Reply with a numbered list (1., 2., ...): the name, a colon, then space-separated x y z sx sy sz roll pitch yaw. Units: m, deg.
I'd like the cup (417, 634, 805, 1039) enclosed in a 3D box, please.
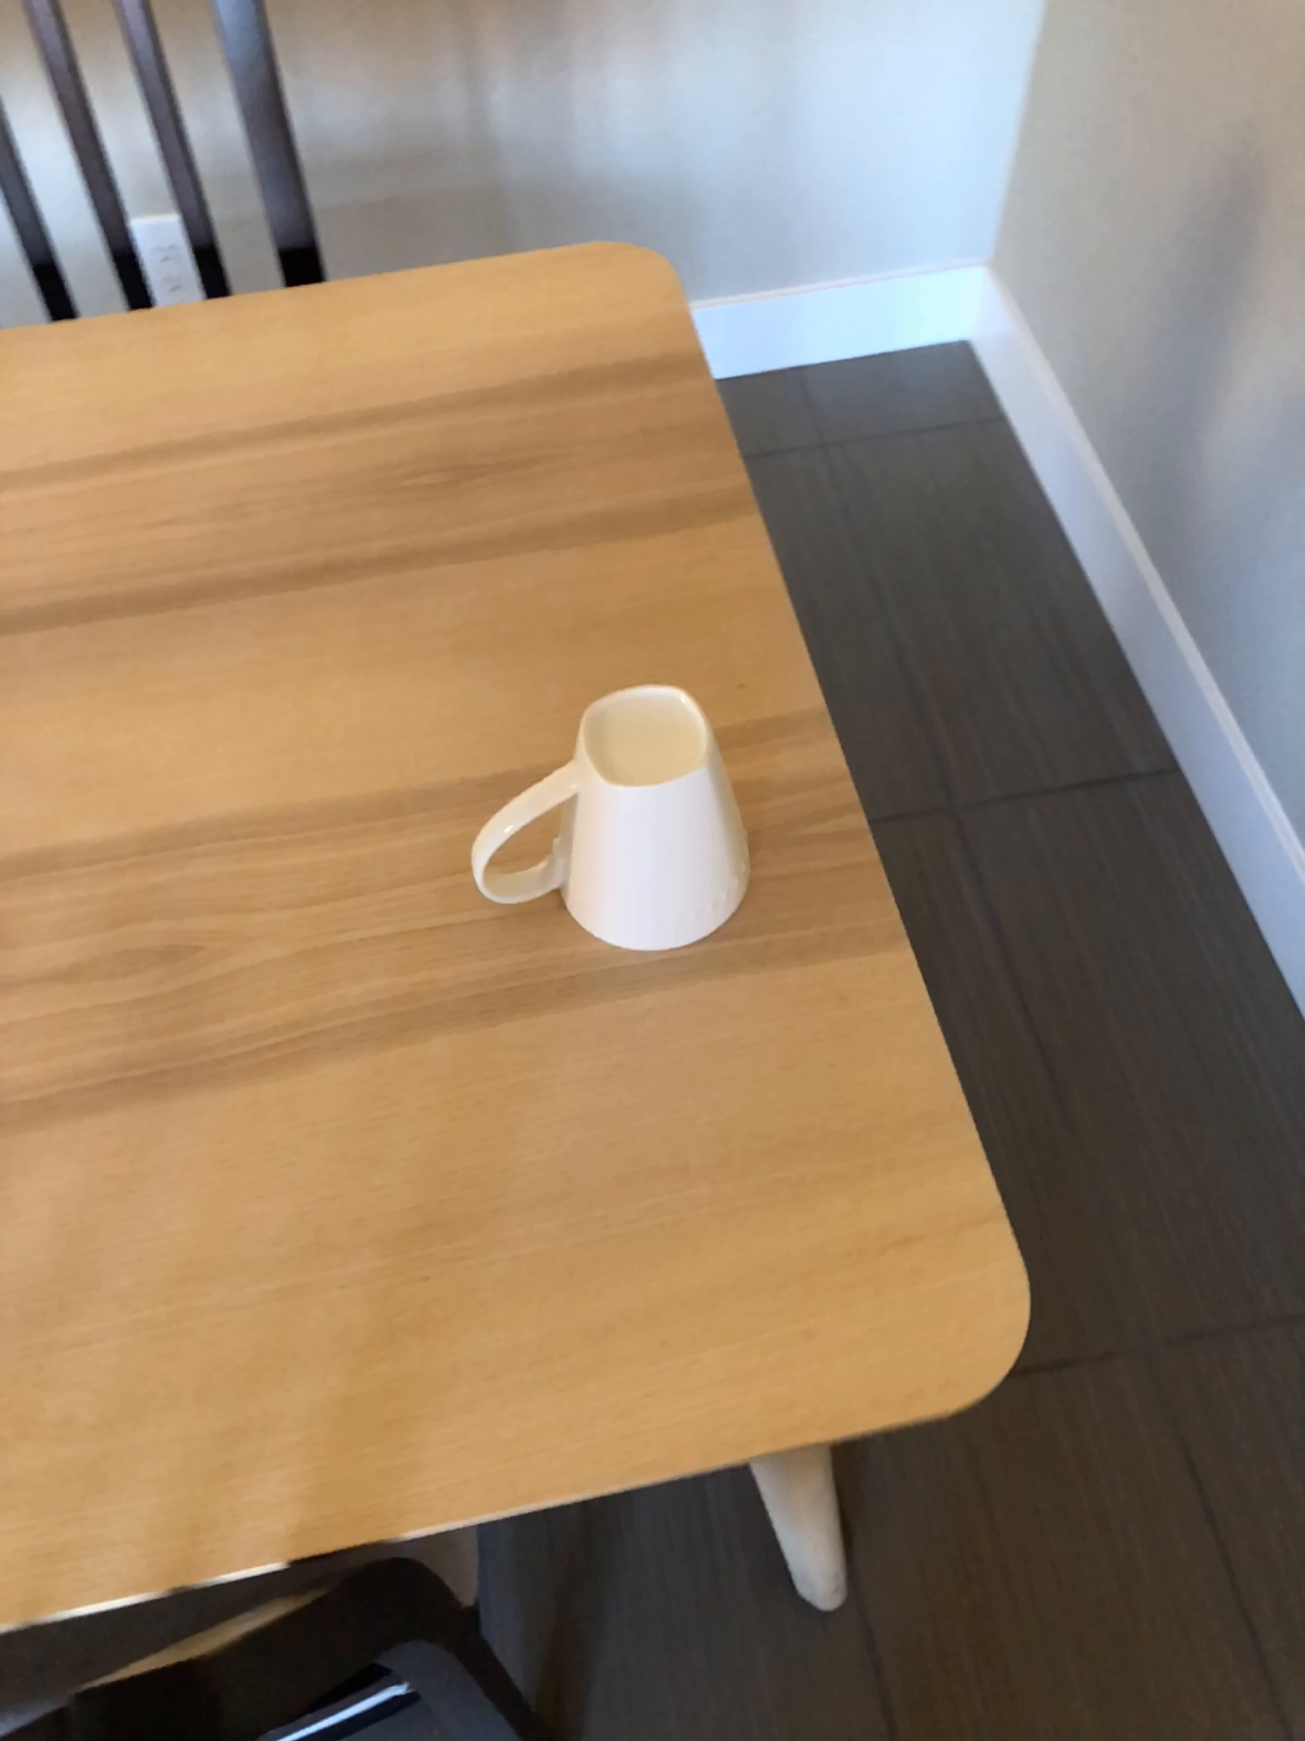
1. cup: -0.018 -0.014 0.660 0.140 0.120 0.100 -17 58 -9
